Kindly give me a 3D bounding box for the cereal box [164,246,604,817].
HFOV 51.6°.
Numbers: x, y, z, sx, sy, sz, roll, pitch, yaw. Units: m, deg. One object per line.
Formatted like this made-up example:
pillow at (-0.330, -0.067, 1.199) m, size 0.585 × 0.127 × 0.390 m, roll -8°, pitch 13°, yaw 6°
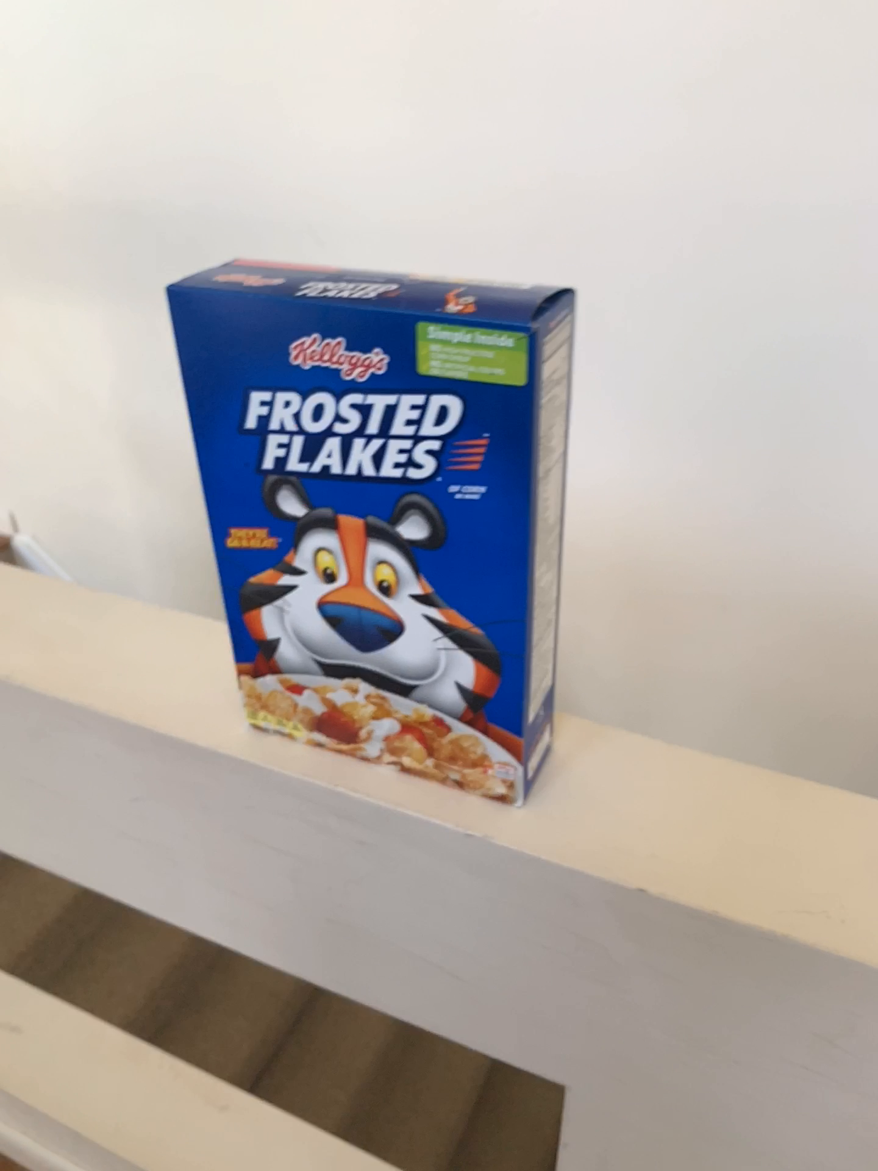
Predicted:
cereal box at (-0.025, -0.024, 0.503) m, size 0.200 × 0.288 × 0.060 m, roll 13°, pitch 36°, yaw 21°
